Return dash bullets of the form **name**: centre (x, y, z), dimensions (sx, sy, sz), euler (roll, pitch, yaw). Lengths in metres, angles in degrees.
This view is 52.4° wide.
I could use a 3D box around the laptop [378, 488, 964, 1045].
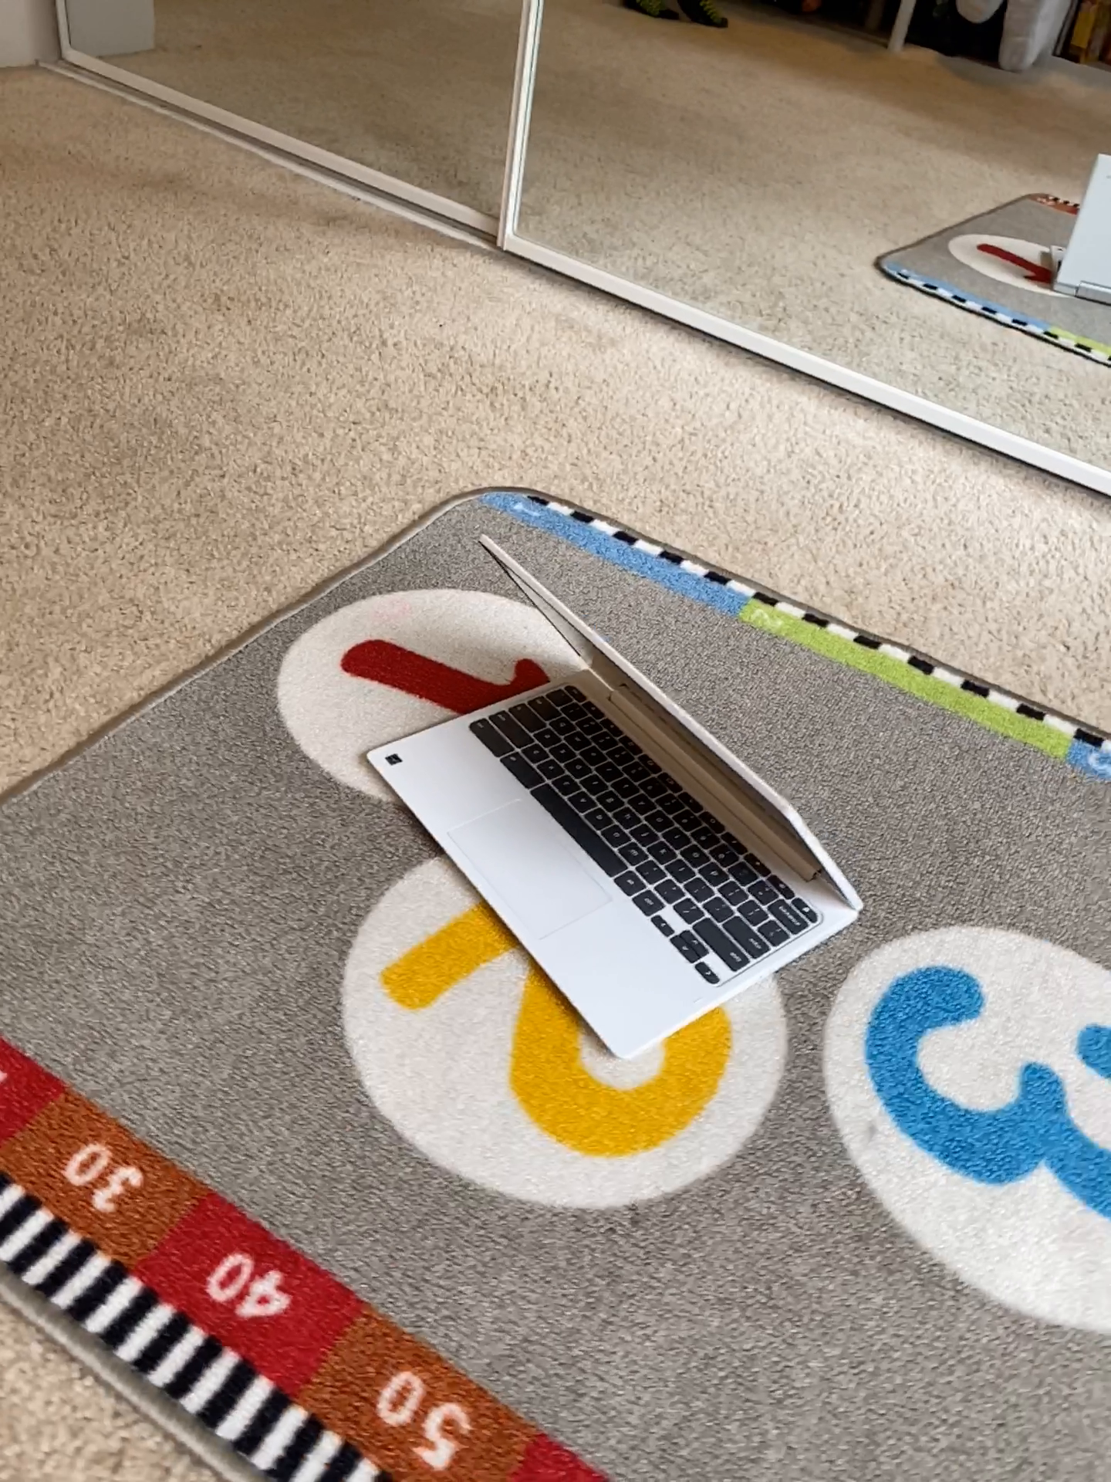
- **laptop**: centre (0.058, -0.003, 0.746), dimensions (0.217, 0.164, 0.294), euler (-22, 52, -33)
